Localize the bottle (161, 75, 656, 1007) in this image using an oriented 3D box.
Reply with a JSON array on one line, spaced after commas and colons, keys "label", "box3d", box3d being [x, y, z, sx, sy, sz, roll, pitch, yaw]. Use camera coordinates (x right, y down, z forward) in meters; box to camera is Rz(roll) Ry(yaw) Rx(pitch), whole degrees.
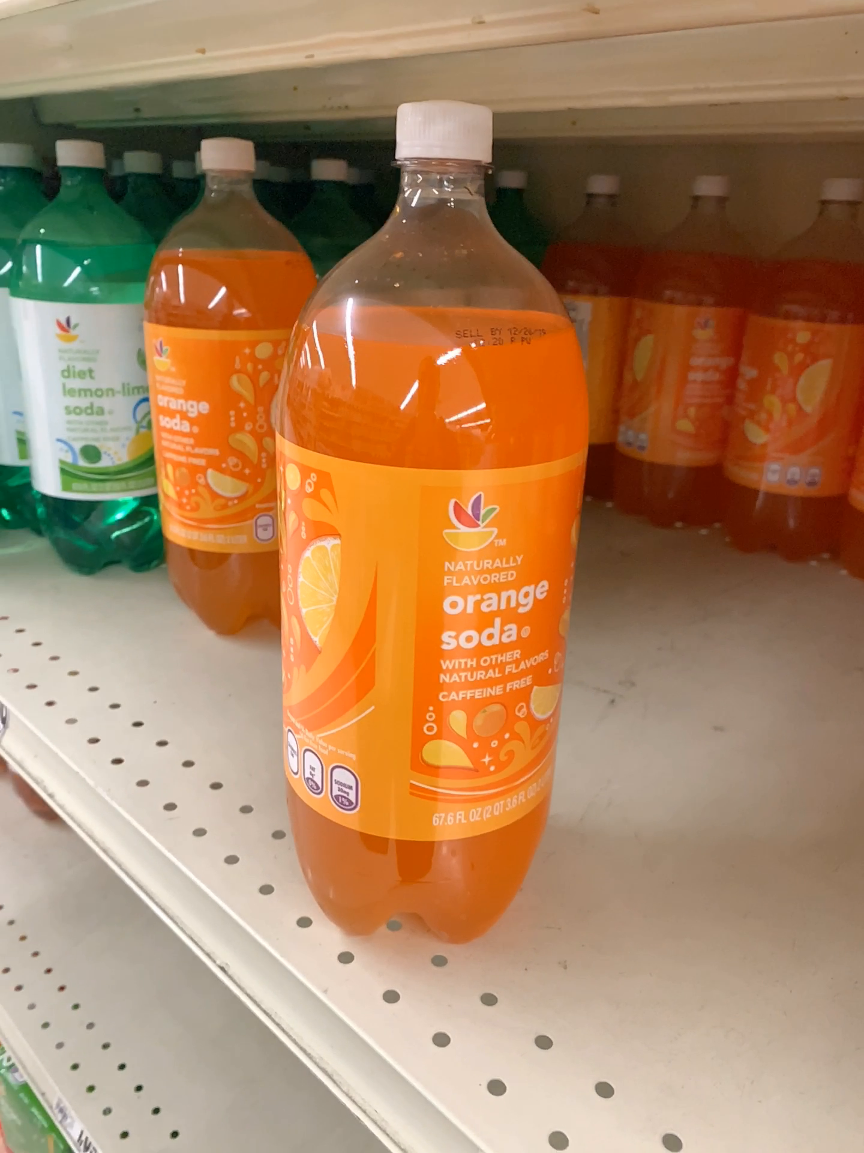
[{"label": "bottle", "box3d": [-0.001, -0.010, 0.322, 0.120, 0.289, 0.111, 1, 23, -1]}]
